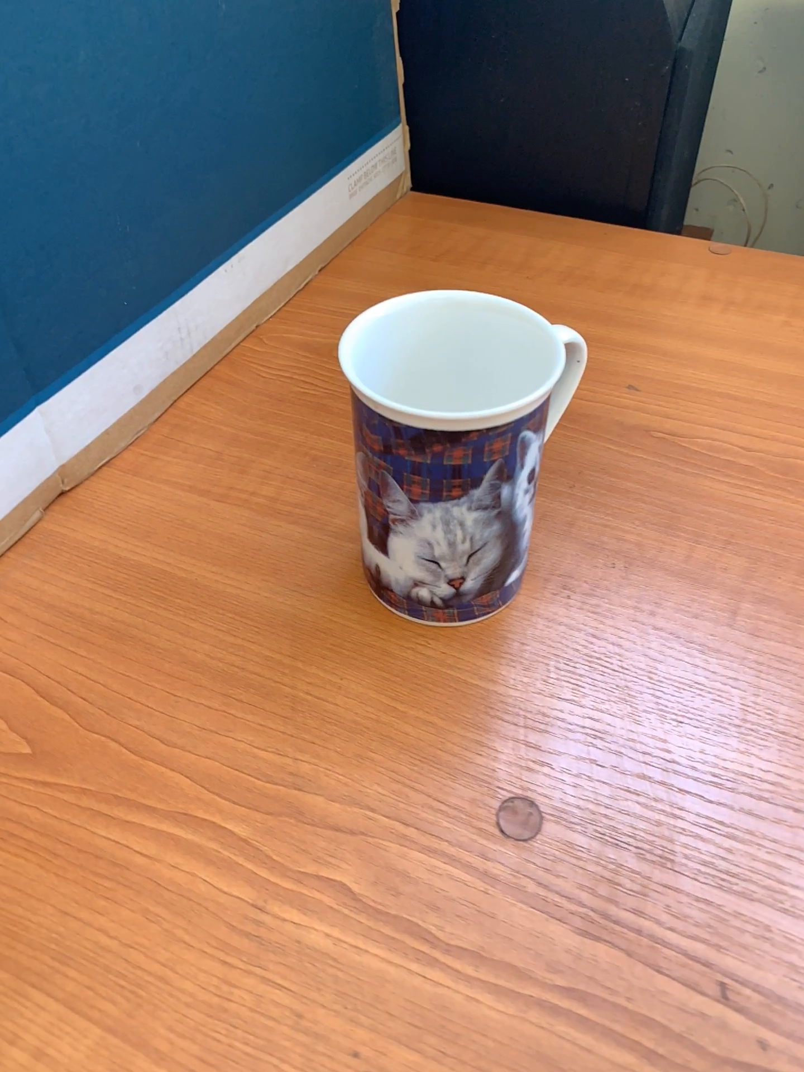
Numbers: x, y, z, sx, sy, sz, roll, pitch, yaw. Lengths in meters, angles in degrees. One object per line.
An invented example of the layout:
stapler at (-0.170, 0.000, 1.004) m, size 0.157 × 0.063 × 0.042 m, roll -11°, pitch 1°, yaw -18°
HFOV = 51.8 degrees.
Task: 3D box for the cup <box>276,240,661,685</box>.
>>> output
cup at (0.027, -0.031, 0.306) m, size 0.080 × 0.100 × 0.110 m, roll 25°, pitch 51°, yaw 25°
